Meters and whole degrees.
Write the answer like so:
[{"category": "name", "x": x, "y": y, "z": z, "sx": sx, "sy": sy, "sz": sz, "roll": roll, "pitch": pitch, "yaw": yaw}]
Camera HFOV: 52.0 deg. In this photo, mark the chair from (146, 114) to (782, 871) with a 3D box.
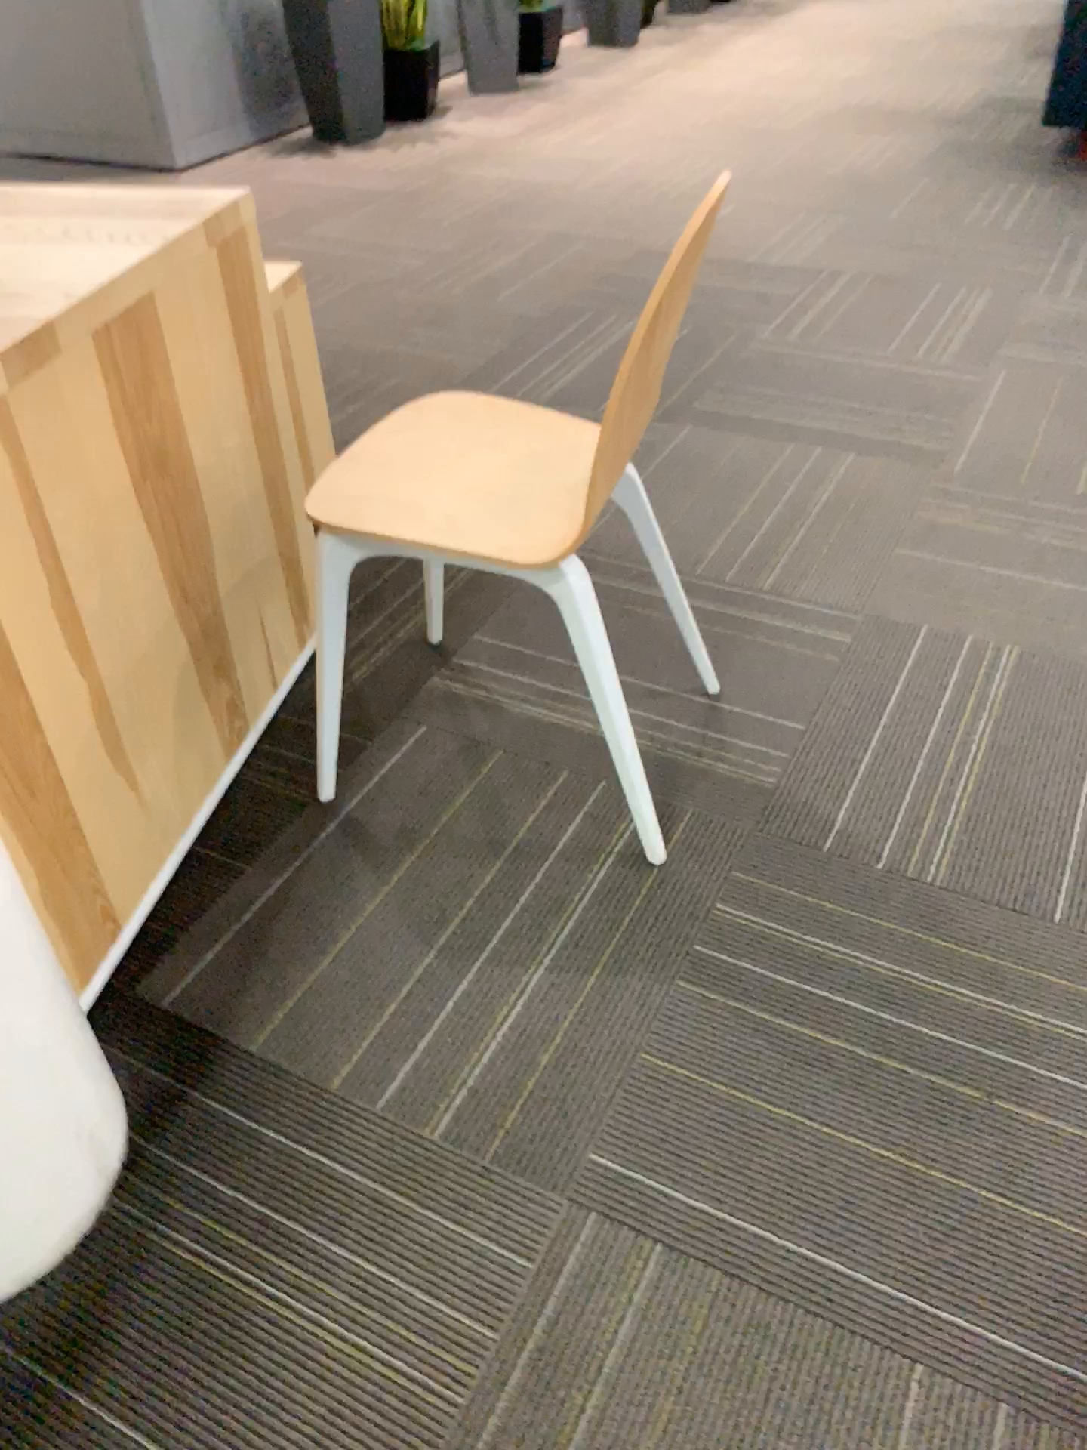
[{"category": "chair", "x": -0.044, "y": -0.310, "z": 1.495, "sx": 0.581, "sy": 0.805, "sz": 0.483, "roll": 9, "pitch": 41, "yaw": 14}]
